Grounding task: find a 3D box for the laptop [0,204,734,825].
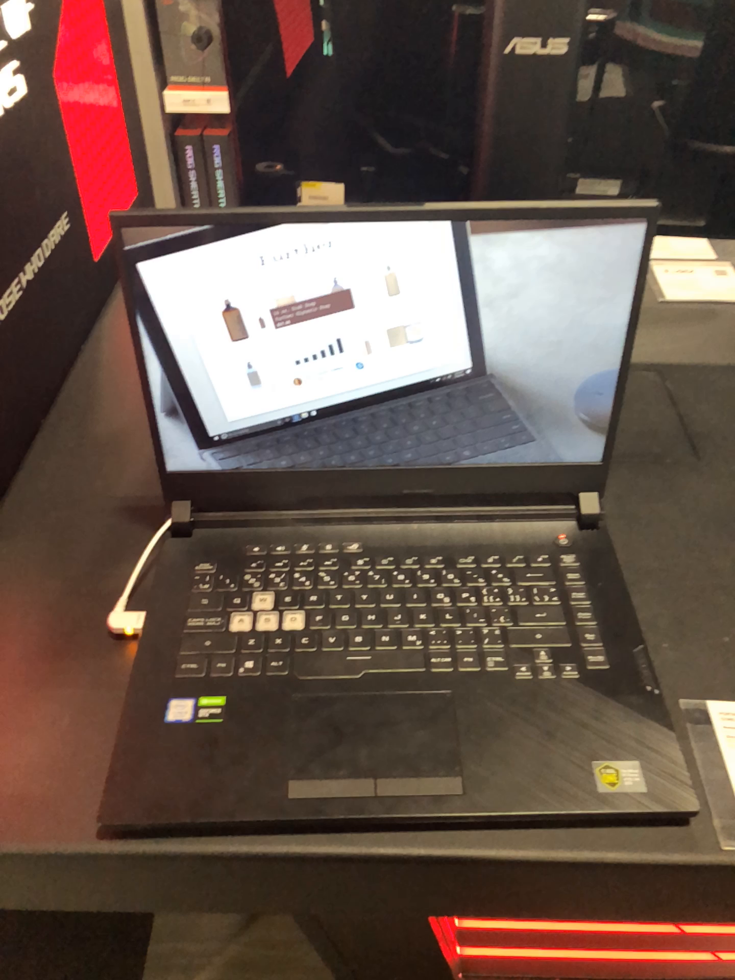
[{"bbox_3d":[0.016,0.010,0.508,0.360,0.268,0.276,-1,42,-1],"label":"laptop"}]
